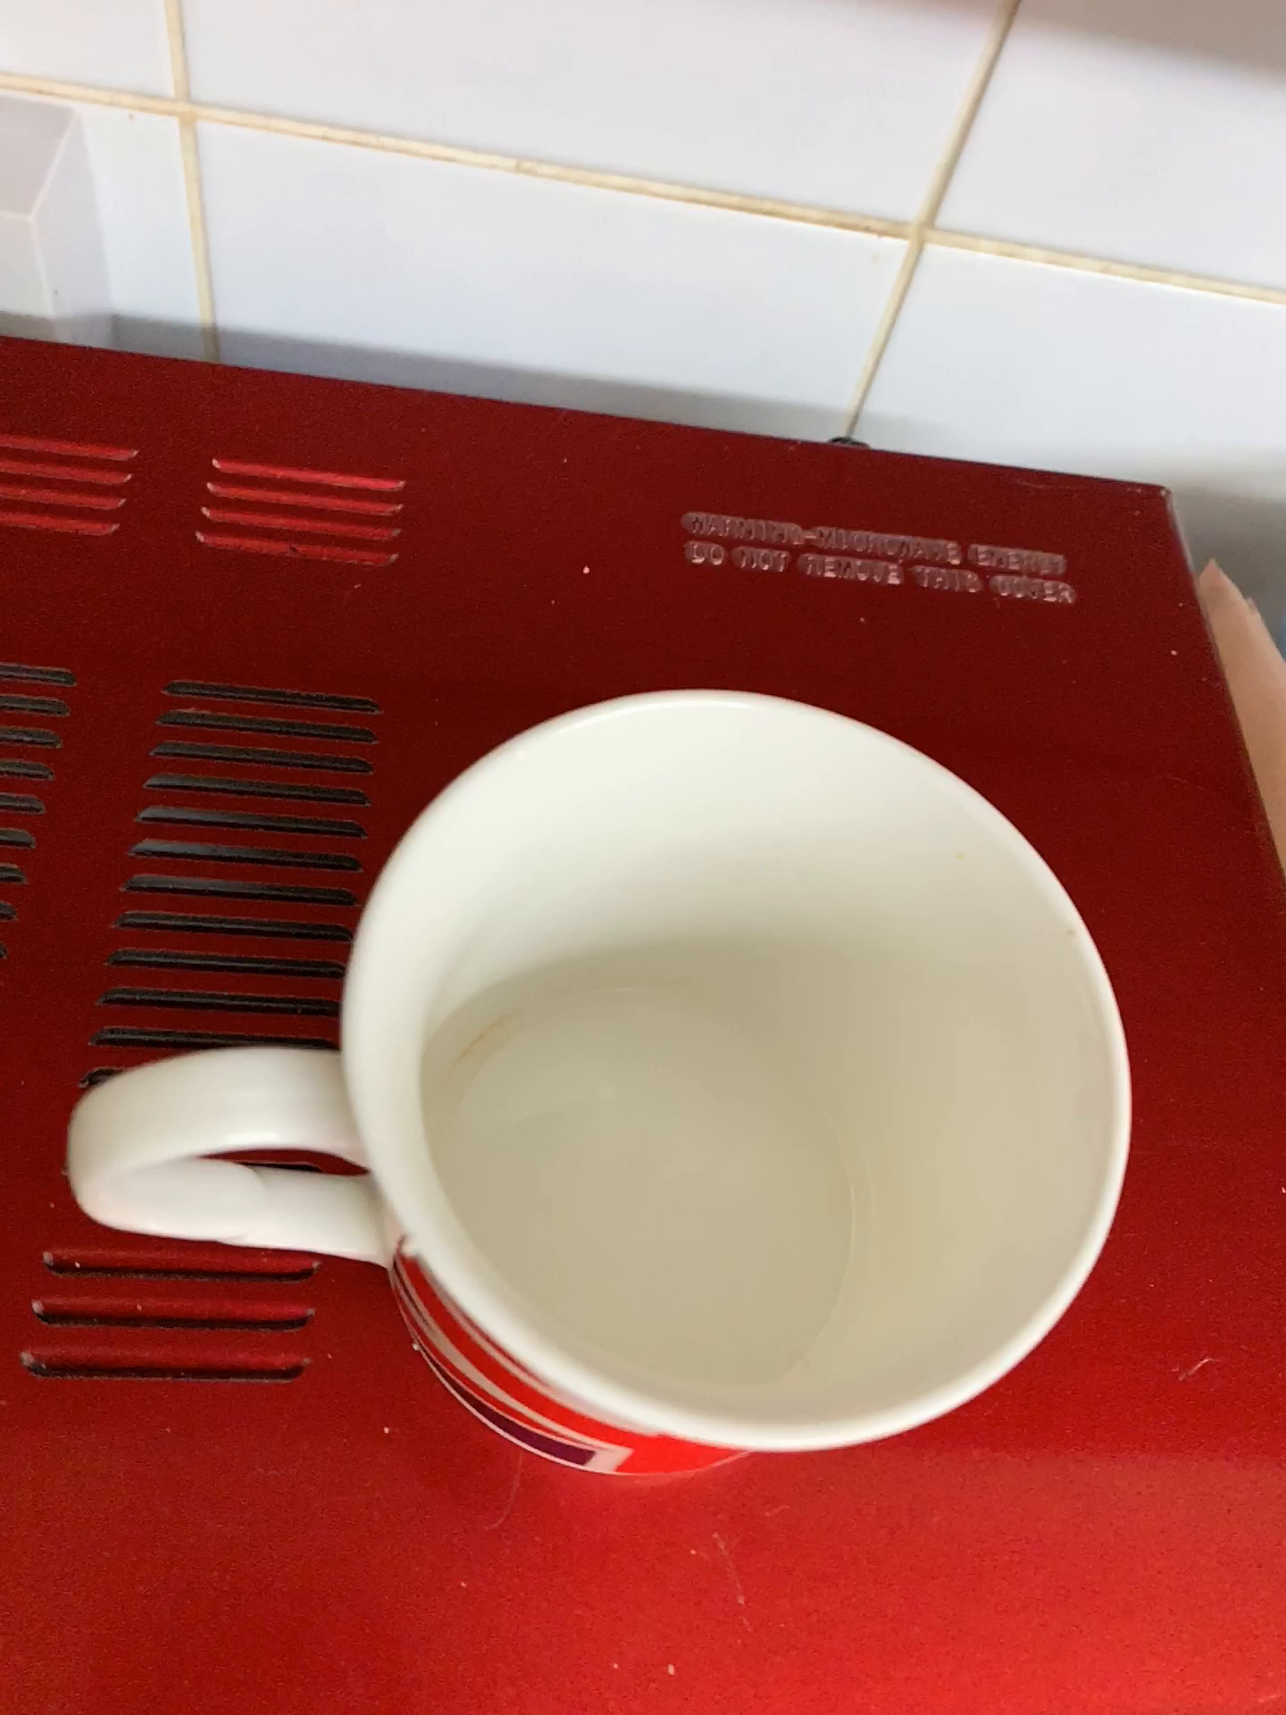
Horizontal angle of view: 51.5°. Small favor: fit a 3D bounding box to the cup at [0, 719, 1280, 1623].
[{"bbox_3d":[-0.010,0.040,0.168,0.120,0.079,0.081,-2,60,-13],"label":"cup"}]
